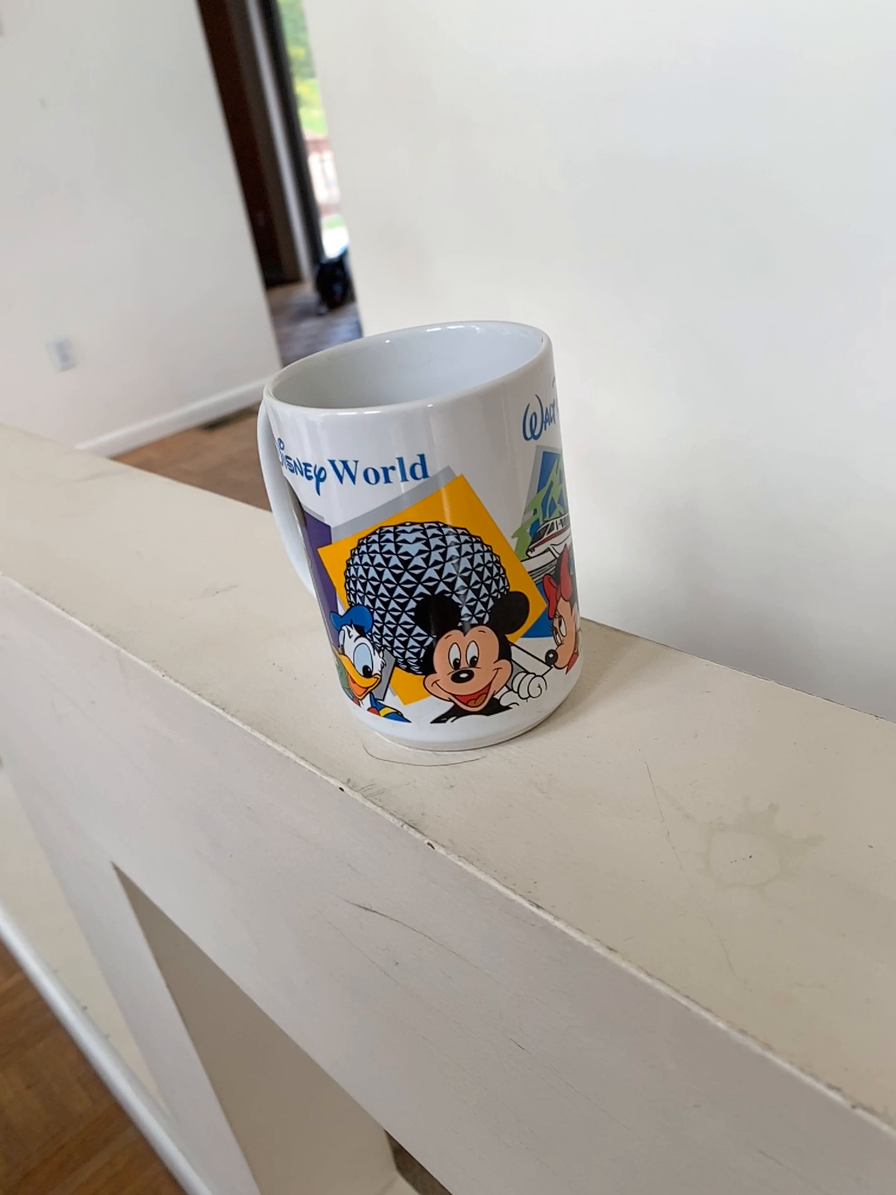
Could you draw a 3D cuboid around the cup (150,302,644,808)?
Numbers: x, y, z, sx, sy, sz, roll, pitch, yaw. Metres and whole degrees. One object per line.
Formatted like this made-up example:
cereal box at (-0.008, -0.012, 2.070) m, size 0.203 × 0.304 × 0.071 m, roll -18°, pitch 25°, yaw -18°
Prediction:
cup at (-0.019, -0.026, 0.303) m, size 0.080 × 0.109 × 0.141 m, roll -26°, pitch 32°, yaw -29°
